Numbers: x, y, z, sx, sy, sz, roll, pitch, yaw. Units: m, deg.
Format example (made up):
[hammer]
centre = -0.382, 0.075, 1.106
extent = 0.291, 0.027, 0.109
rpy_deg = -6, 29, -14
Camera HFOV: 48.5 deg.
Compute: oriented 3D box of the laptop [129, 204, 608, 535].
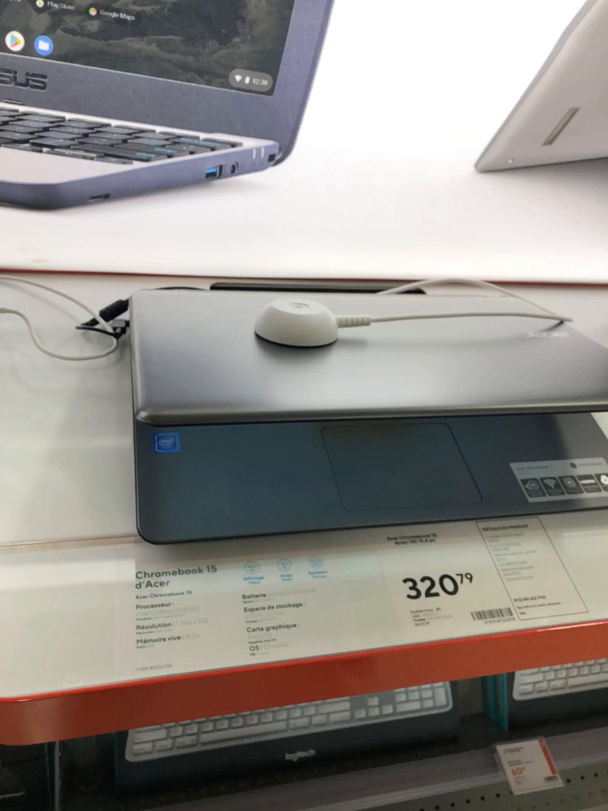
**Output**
[laptop]
centre = 0.062, -0.042, 0.514
extent = 0.369, 0.088, 0.249
rpy_deg = -1, 44, -14
